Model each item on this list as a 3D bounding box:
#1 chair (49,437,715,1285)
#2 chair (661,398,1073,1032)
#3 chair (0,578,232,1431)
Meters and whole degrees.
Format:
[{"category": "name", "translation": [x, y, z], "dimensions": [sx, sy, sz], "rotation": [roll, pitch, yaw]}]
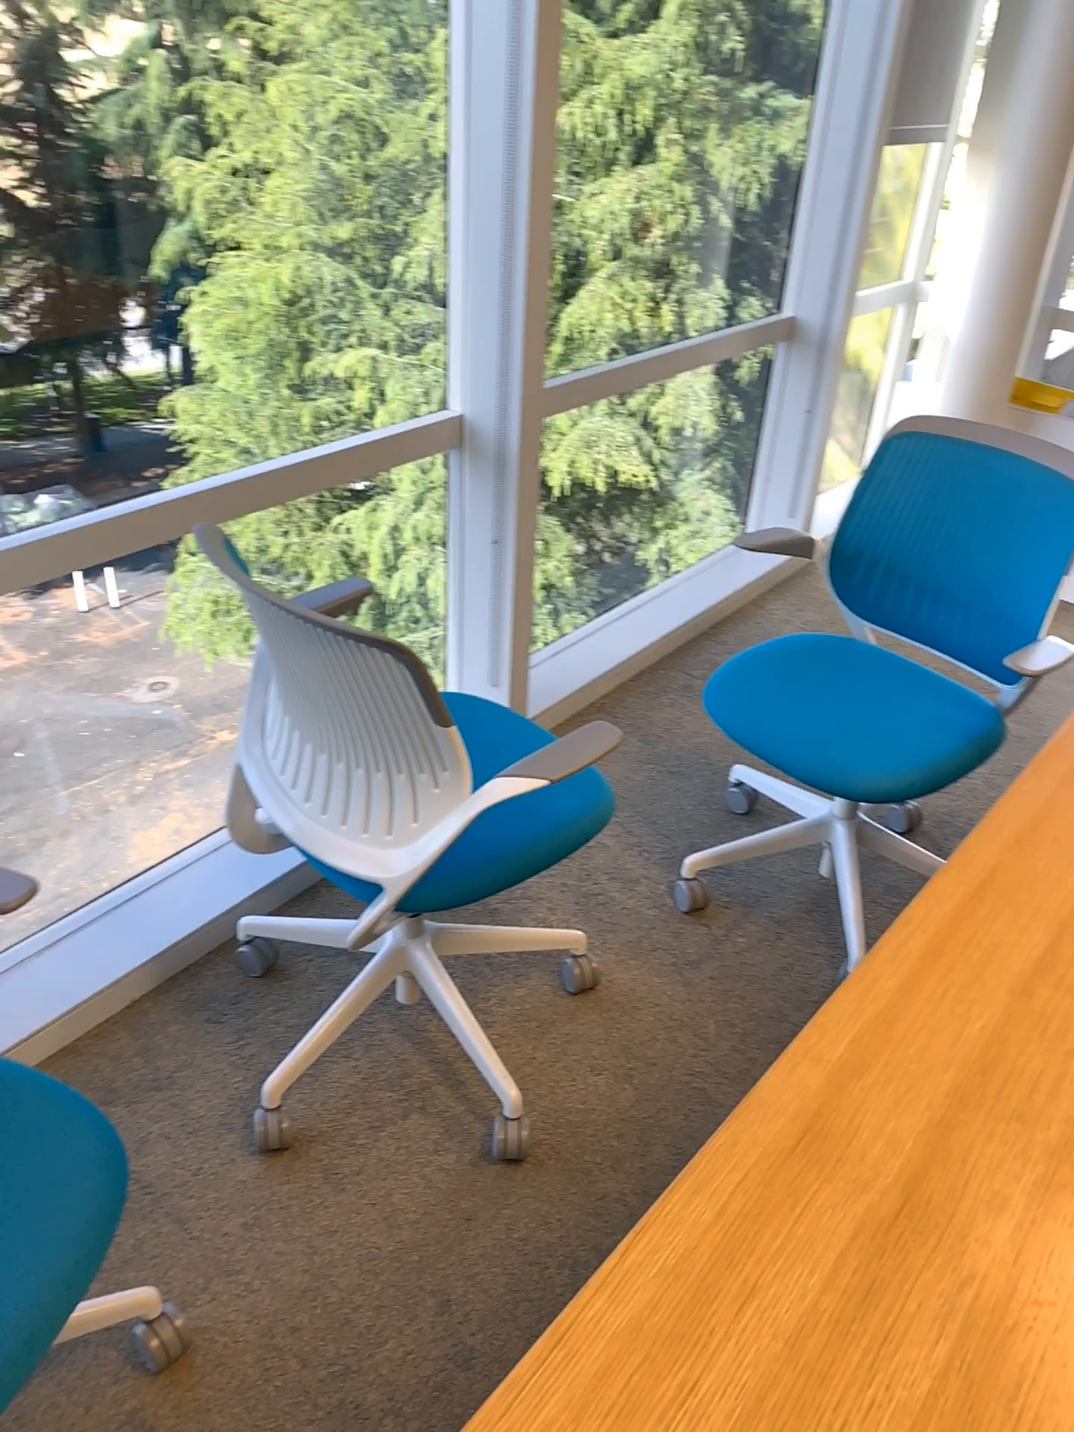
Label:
[{"category": "chair", "translation": [-0.220, 0.191, 1.780], "dimensions": [0.652, 1.014, 0.642], "rotation": [23, 37, 28]}, {"category": "chair", "translation": [0.737, -0.022, 2.362], "dimensions": [0.632, 1.093, 0.542], "rotation": [-26, 42, -38]}, {"category": "chair", "translation": [-1.020, 0.578, 1.361], "dimensions": [0.871, 1.133, 0.734], "rotation": [16, 34, 20]}]
